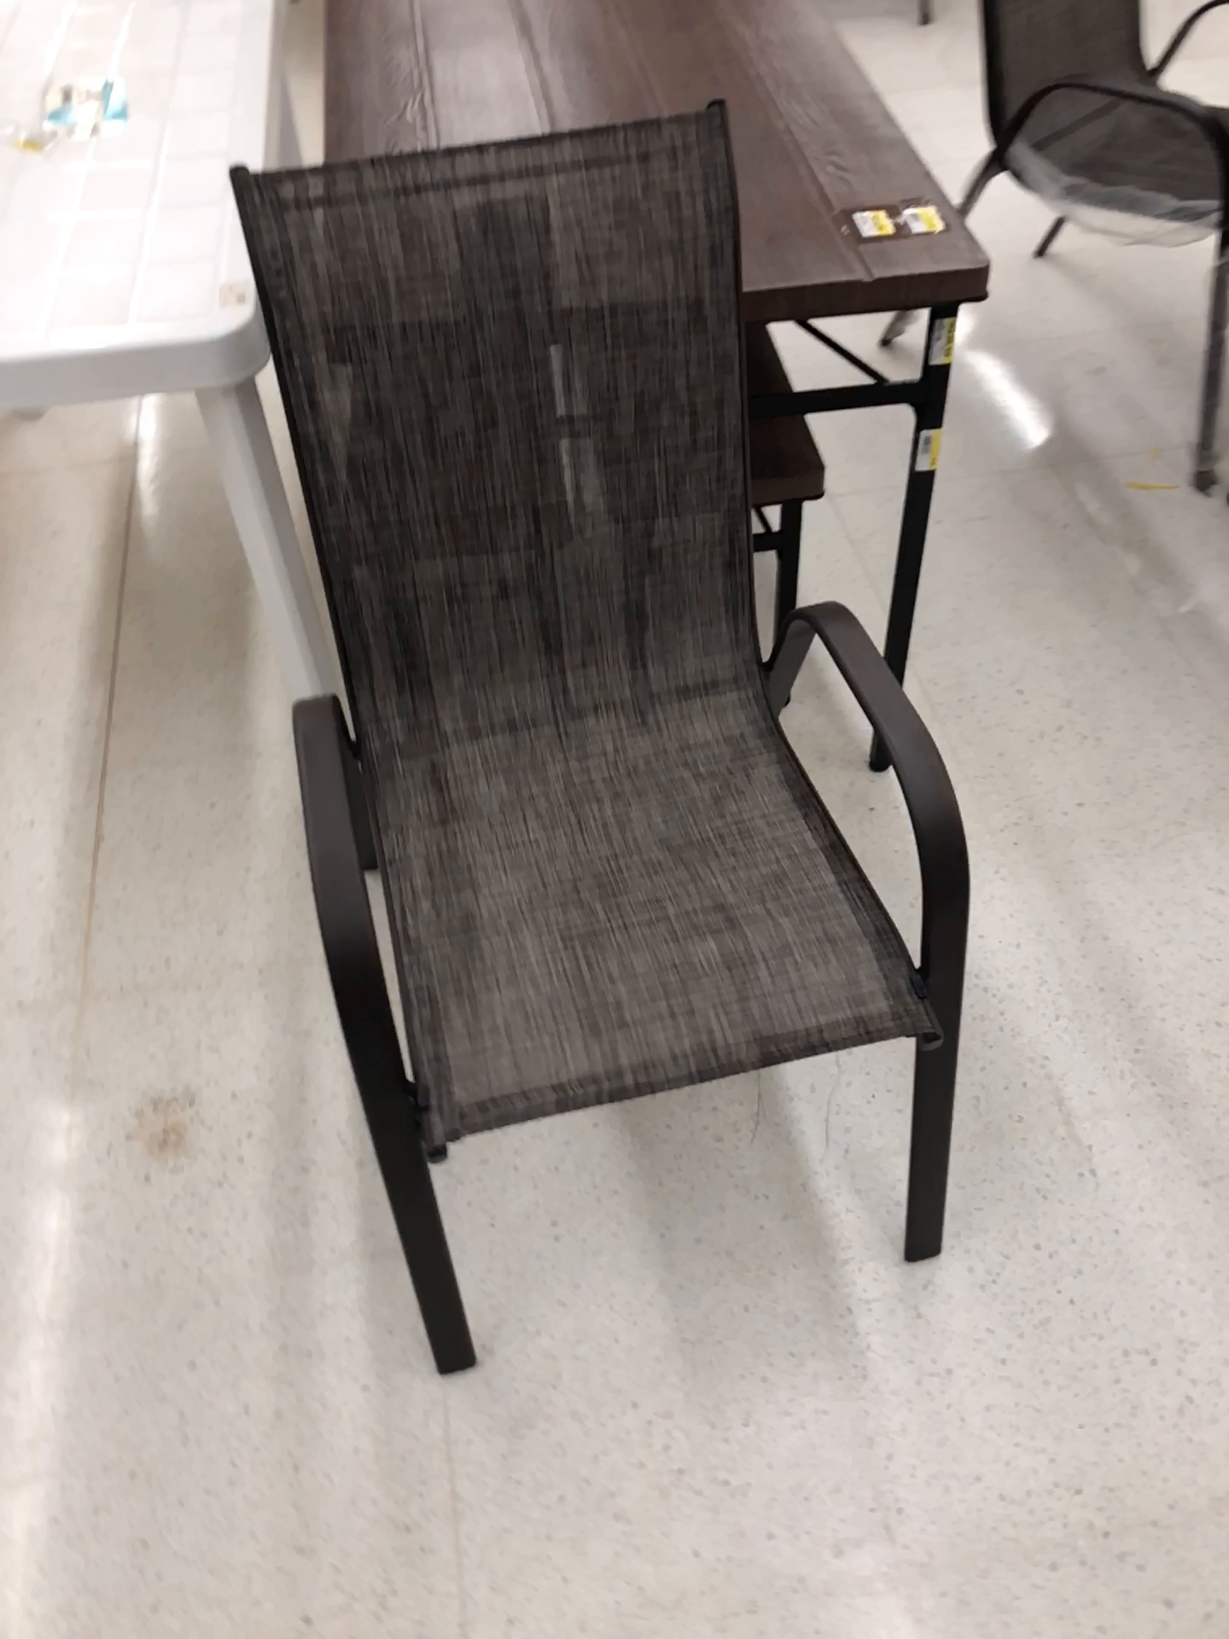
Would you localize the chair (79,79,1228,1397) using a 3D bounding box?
[{"bbox_3d":[-0.024,-0.051,1.229,0.600,0.854,0.715,-11,49,-7],"label":"chair"}]
